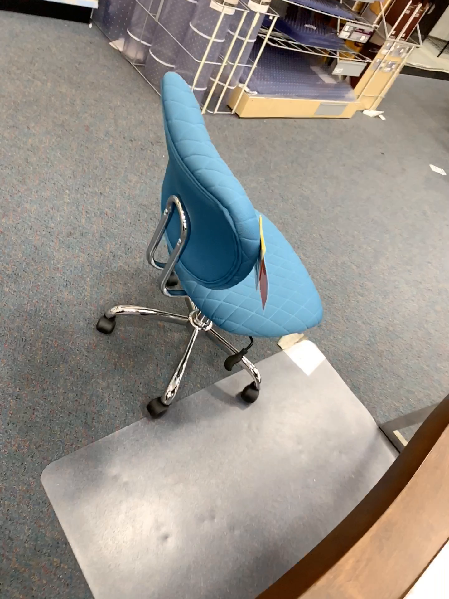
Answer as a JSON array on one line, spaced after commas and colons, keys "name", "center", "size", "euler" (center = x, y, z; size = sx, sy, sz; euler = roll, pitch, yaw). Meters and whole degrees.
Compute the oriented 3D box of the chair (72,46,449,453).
[{"name": "chair", "center": [0.046, -0.086, 1.280], "size": [0.666, 0.775, 0.599], "euler": [-4, 55, -33]}]
